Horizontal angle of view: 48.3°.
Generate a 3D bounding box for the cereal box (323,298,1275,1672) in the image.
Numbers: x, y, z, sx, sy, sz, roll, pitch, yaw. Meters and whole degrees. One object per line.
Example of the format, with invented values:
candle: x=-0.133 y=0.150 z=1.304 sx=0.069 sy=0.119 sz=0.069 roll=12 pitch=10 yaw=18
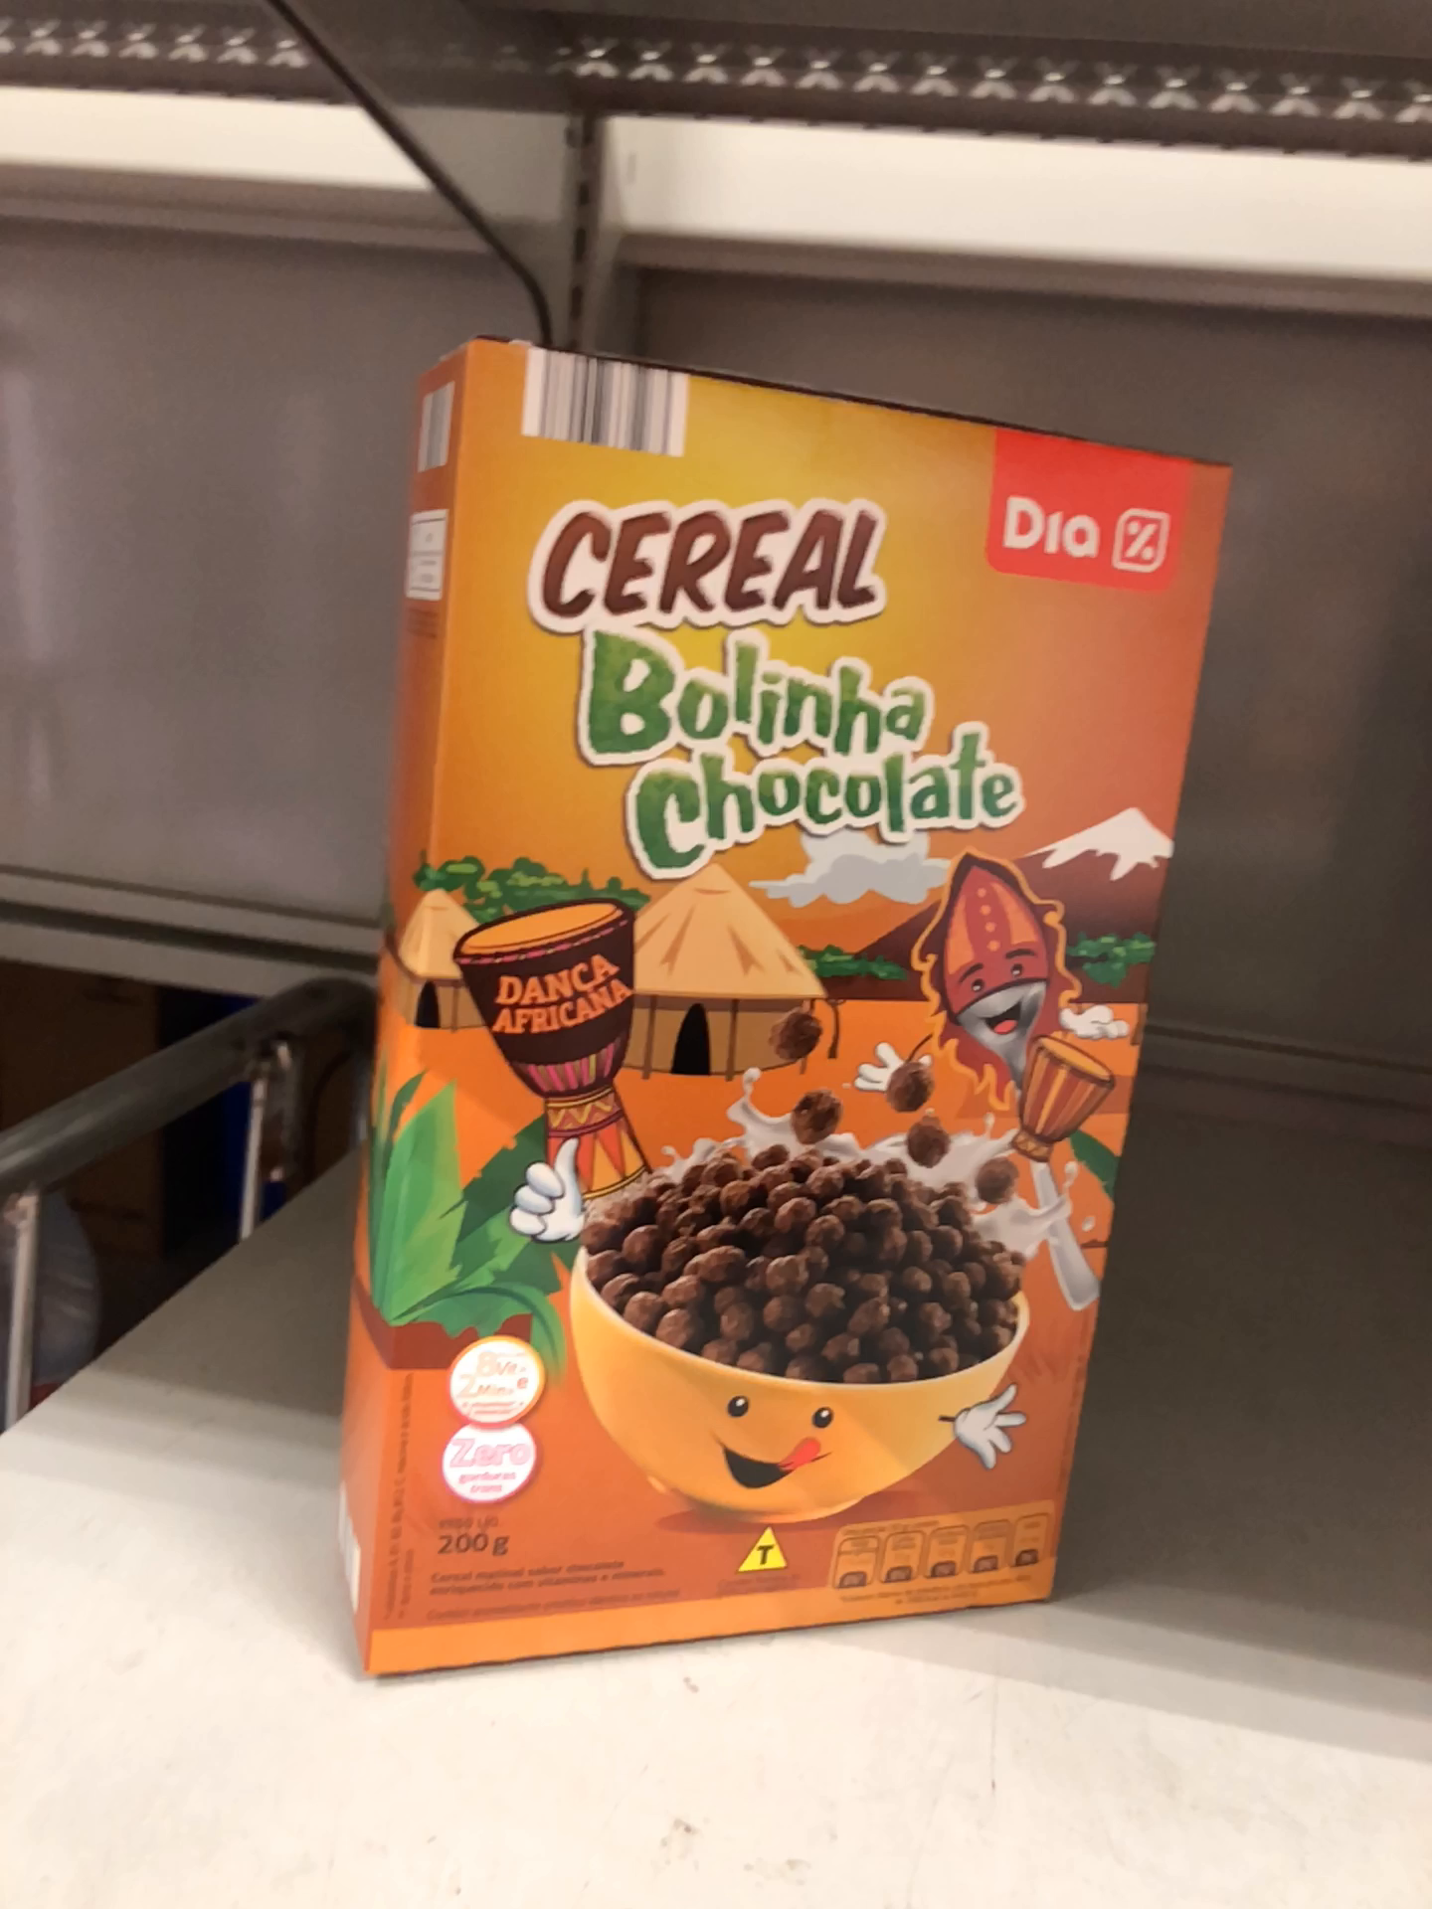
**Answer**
cereal box: x=0.013 y=0.012 z=0.353 sx=0.170 sy=0.259 sz=0.060 roll=3 pitch=9 yaw=-21
